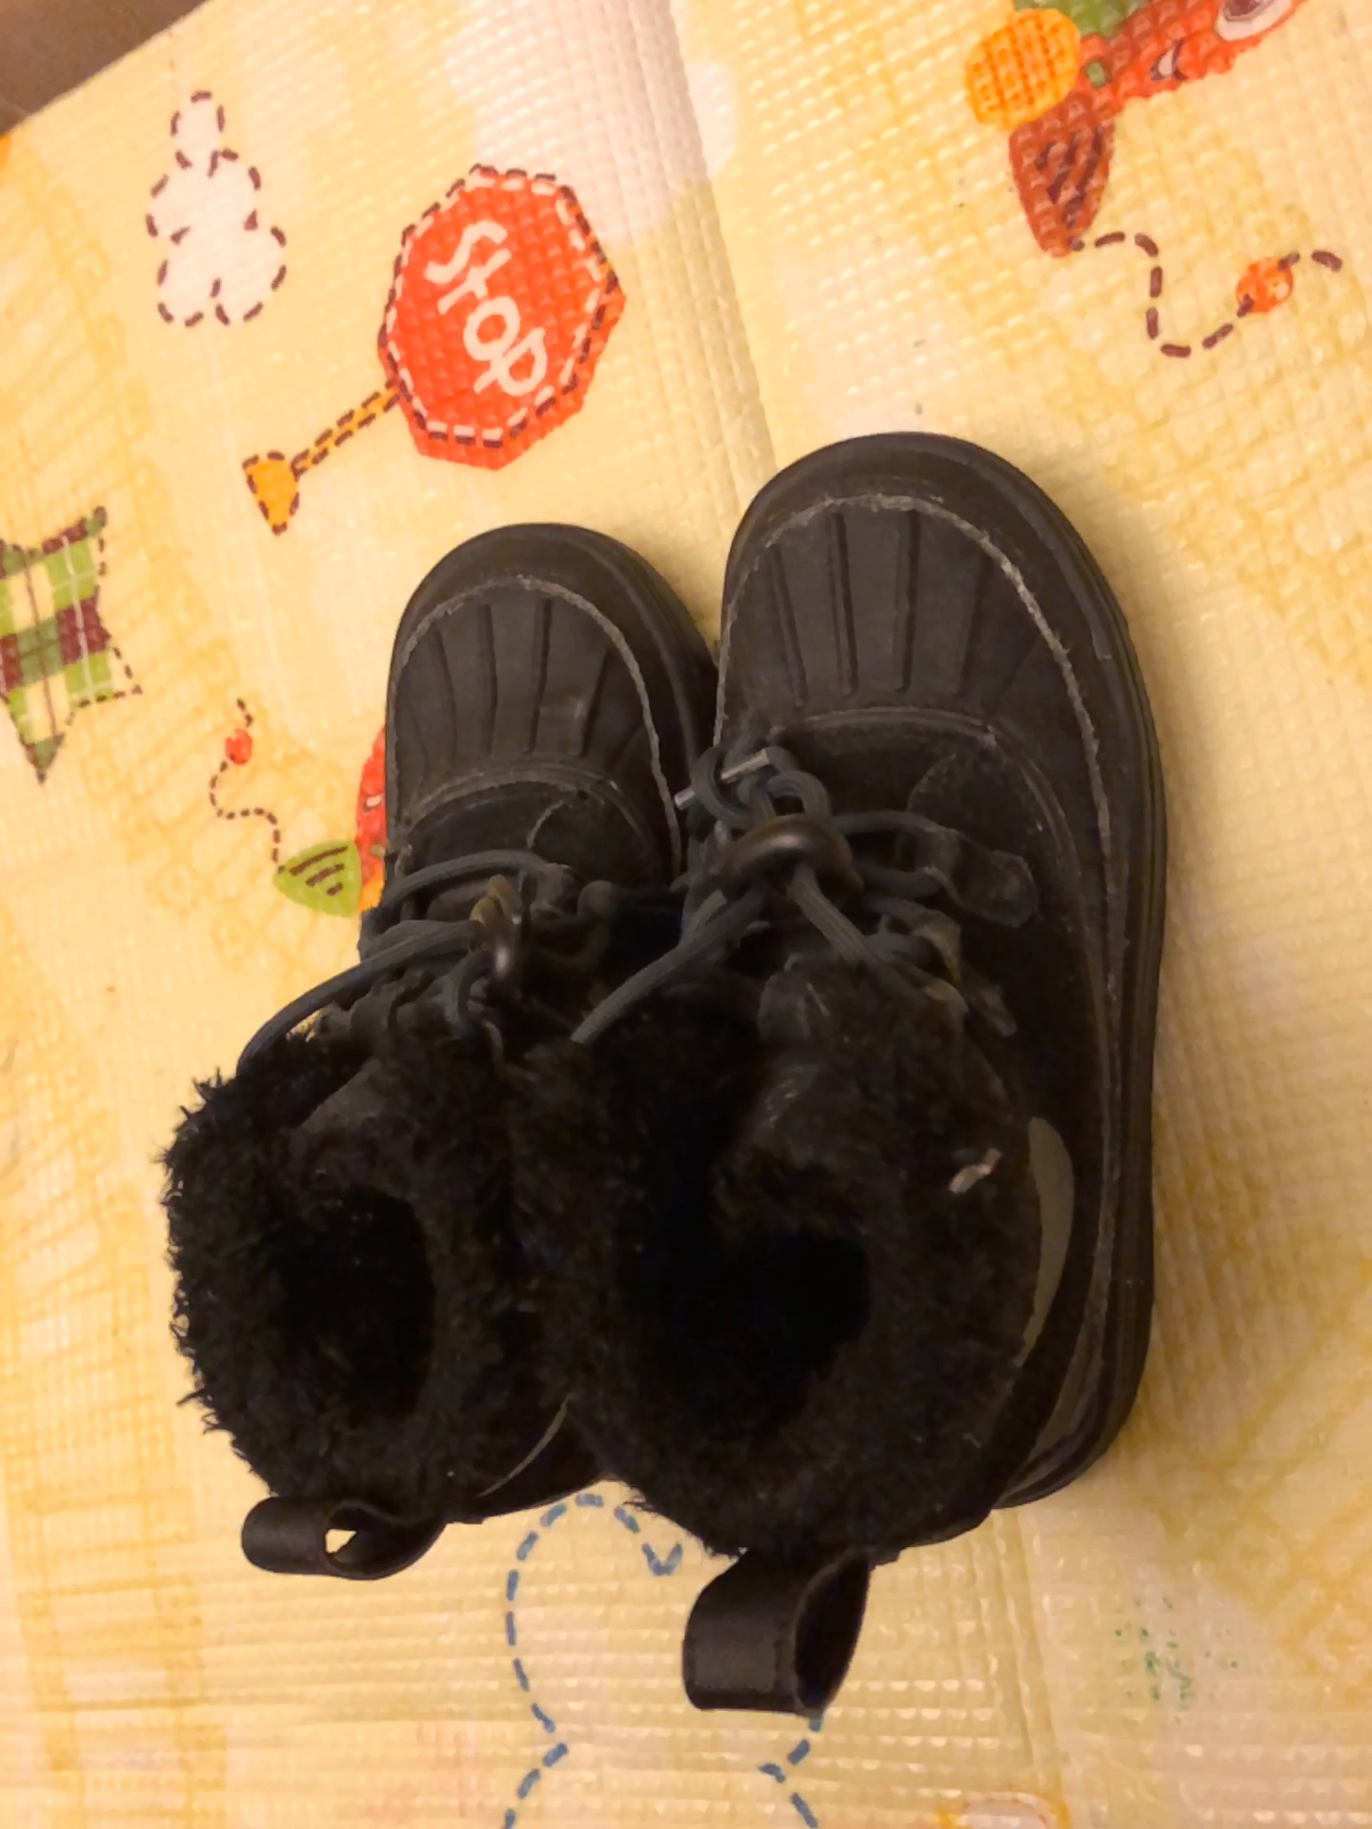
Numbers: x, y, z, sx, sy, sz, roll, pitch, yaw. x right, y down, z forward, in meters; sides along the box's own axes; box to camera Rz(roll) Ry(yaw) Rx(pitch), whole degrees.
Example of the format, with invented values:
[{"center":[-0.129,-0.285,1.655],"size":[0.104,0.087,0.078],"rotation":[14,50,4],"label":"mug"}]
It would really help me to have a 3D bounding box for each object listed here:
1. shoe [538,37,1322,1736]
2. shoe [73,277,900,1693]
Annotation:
[{"center":[0.047,-0.002,0.264],"size":[0.090,0.110,0.220],"rotation":[-6,84,27],"label":"shoe"},{"center":[-0.034,0.015,0.297],"size":[0.090,0.119,0.210],"rotation":[-10,82,27],"label":"shoe"}]
